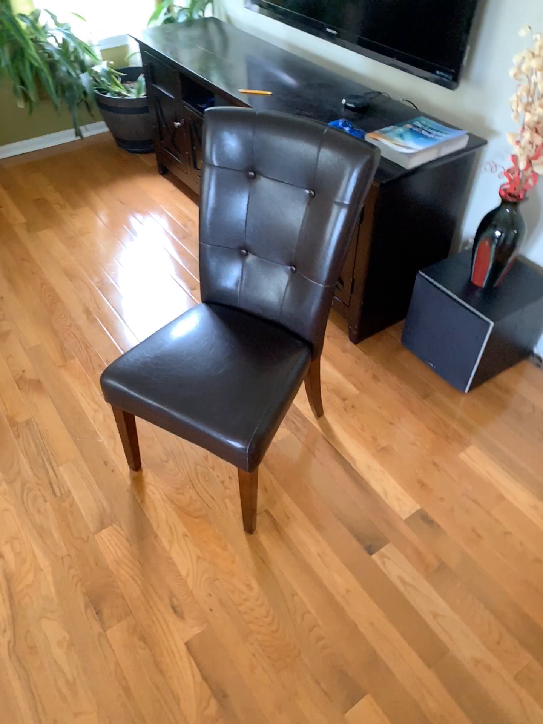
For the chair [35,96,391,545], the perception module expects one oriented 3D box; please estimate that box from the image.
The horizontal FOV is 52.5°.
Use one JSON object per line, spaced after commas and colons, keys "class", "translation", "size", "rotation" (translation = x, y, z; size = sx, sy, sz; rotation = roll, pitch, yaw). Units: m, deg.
{"class": "chair", "translation": [-0.093, -0.103, 1.597], "size": [0.498, 0.969, 0.706], "rotation": [23, 50, 21]}
